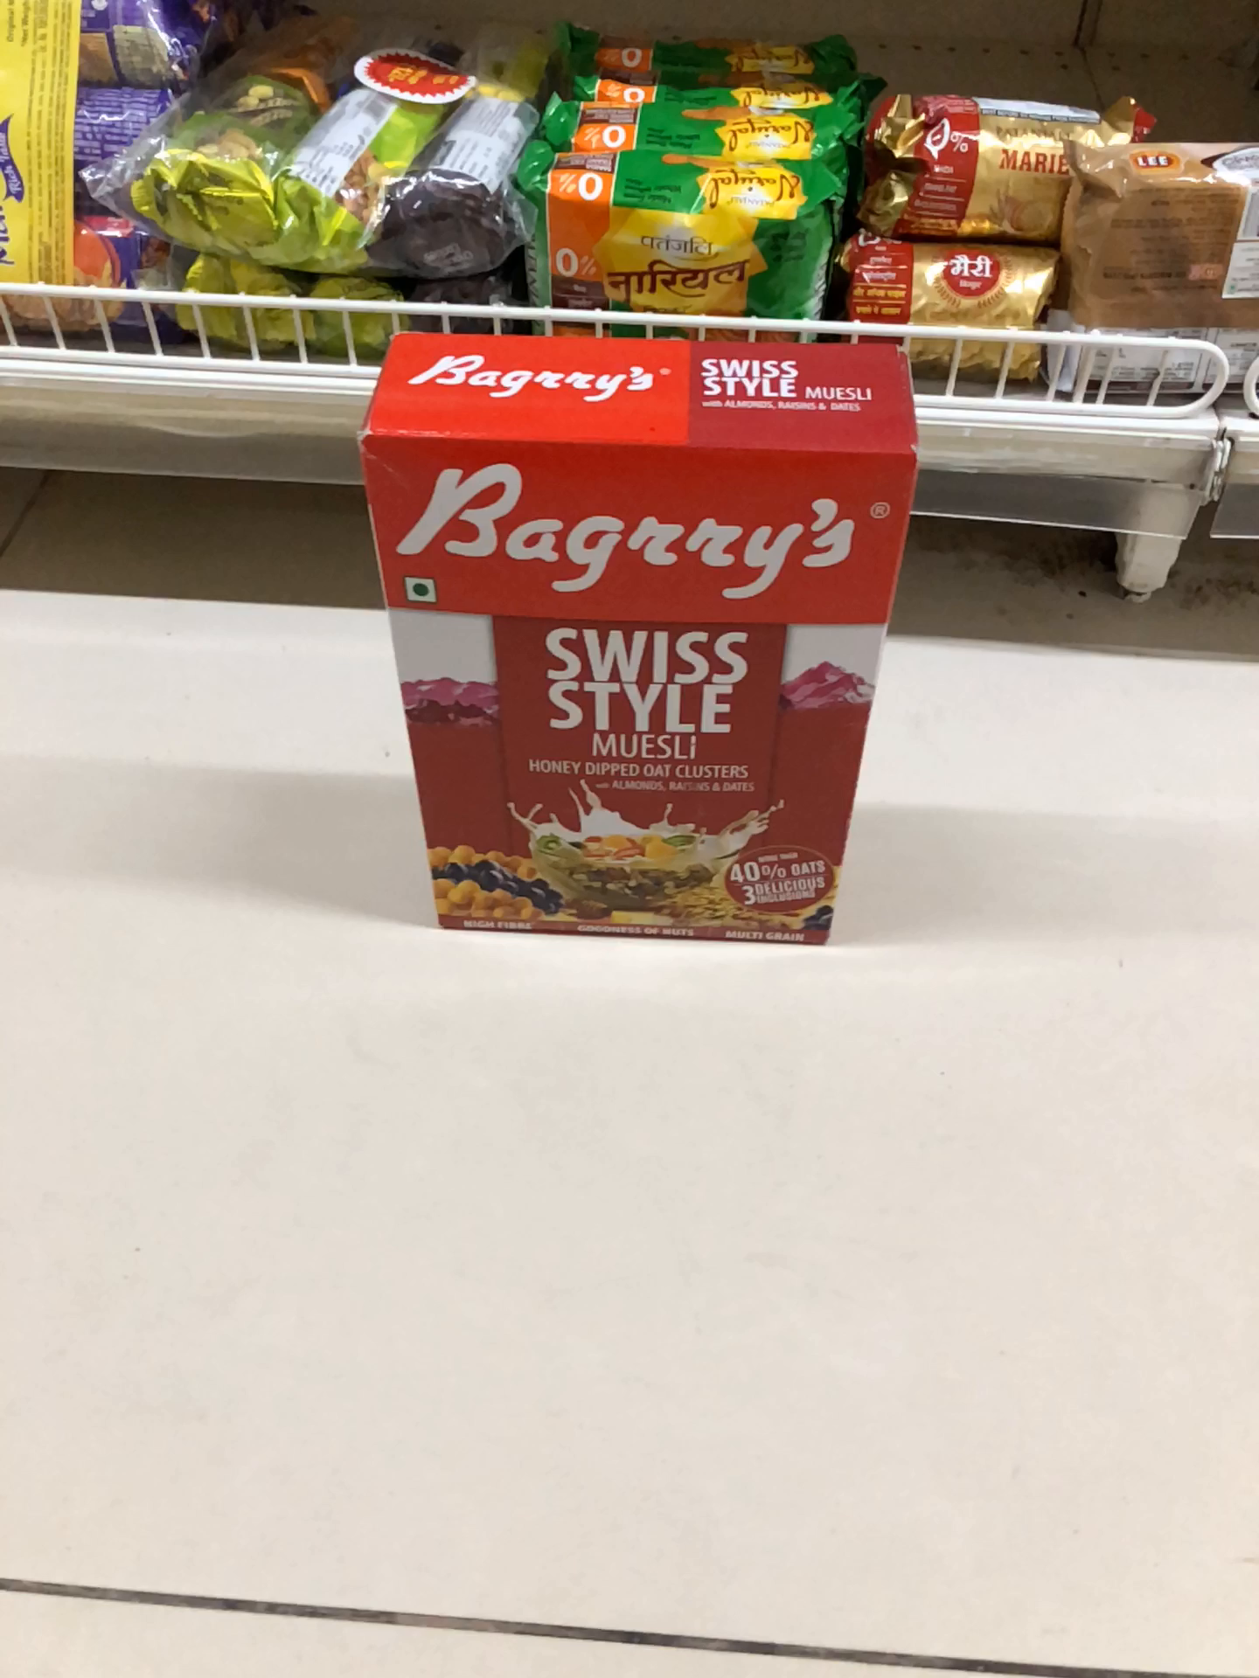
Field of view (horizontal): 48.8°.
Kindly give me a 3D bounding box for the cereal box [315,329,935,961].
[{"bbox_3d":[0.000,-0.059,0.540,0.190,0.258,0.060,2,48,2],"label":"cereal box"}]
